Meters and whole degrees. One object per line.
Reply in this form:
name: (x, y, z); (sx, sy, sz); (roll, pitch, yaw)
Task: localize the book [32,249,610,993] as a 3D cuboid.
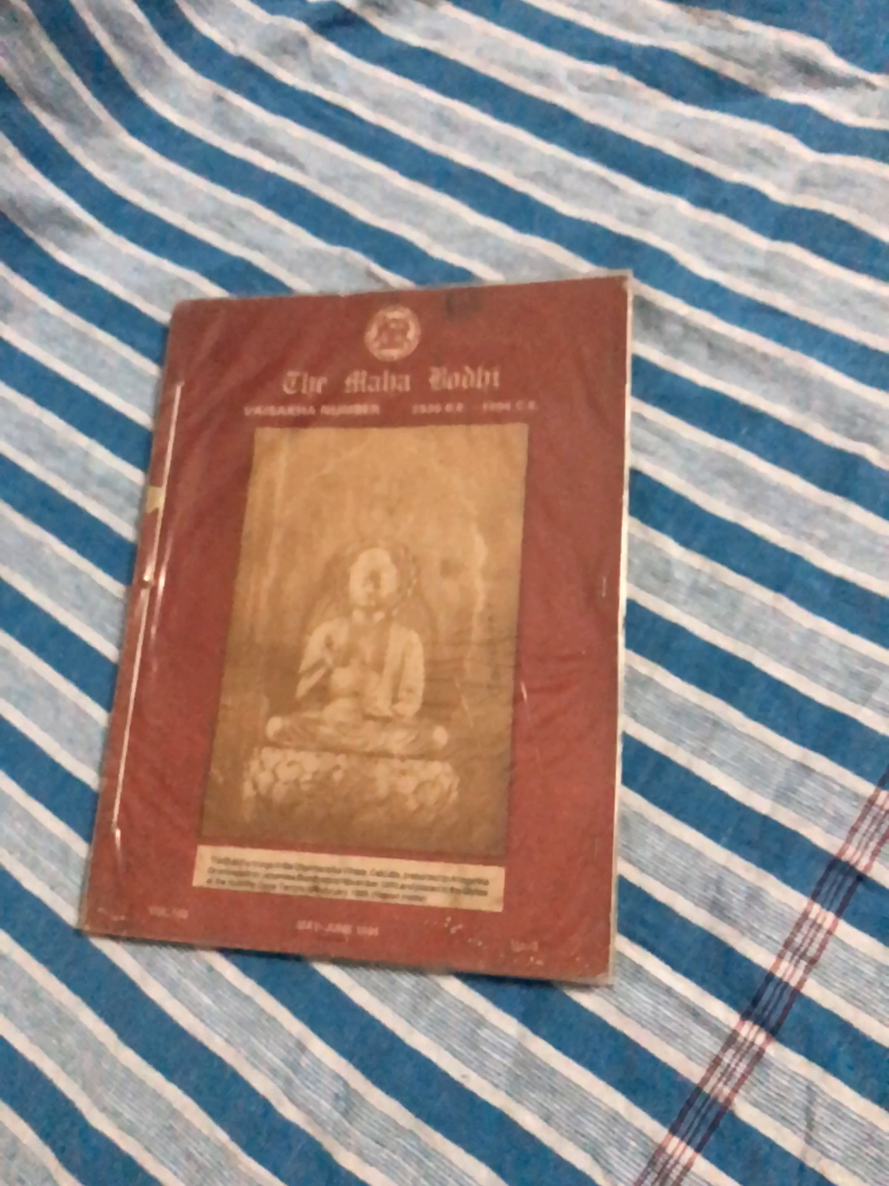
book: (-0.035, -0.002, 0.347); (0.180, 0.020, 0.250); (1, 74, 10)
